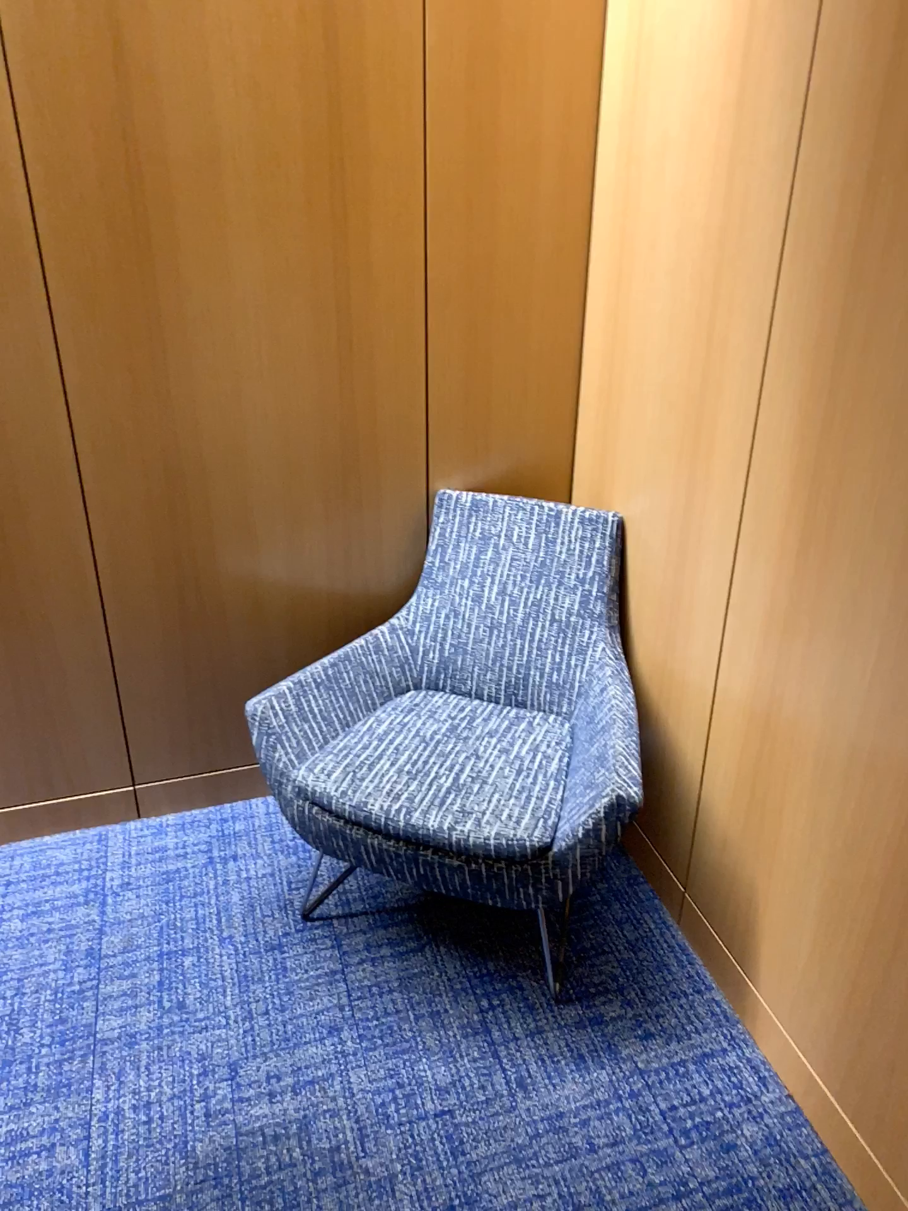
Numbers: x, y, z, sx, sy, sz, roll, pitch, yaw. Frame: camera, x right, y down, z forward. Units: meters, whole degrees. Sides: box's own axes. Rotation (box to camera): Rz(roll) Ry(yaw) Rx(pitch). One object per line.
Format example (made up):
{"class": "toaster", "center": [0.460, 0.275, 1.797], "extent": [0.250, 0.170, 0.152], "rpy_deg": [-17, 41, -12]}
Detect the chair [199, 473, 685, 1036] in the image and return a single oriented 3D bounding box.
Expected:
{"class": "chair", "center": [0.016, 0.230, 1.816], "extent": [0.700, 0.747, 0.616], "rpy_deg": [9, 28, 17]}
